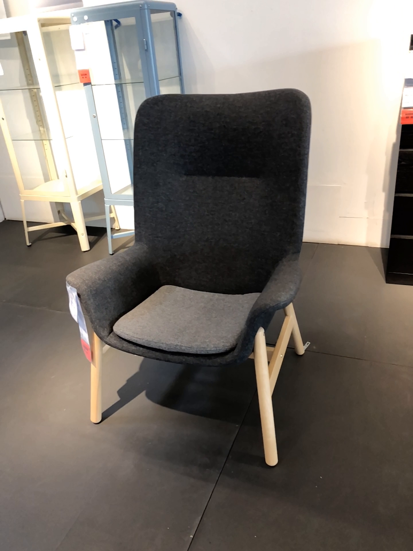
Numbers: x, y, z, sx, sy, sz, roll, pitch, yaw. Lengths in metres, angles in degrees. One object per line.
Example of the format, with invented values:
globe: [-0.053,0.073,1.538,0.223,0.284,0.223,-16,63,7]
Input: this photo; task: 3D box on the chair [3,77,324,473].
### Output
chair: [-0.027,-0.063,1.581,0.721,1.064,0.714,6,28,21]
